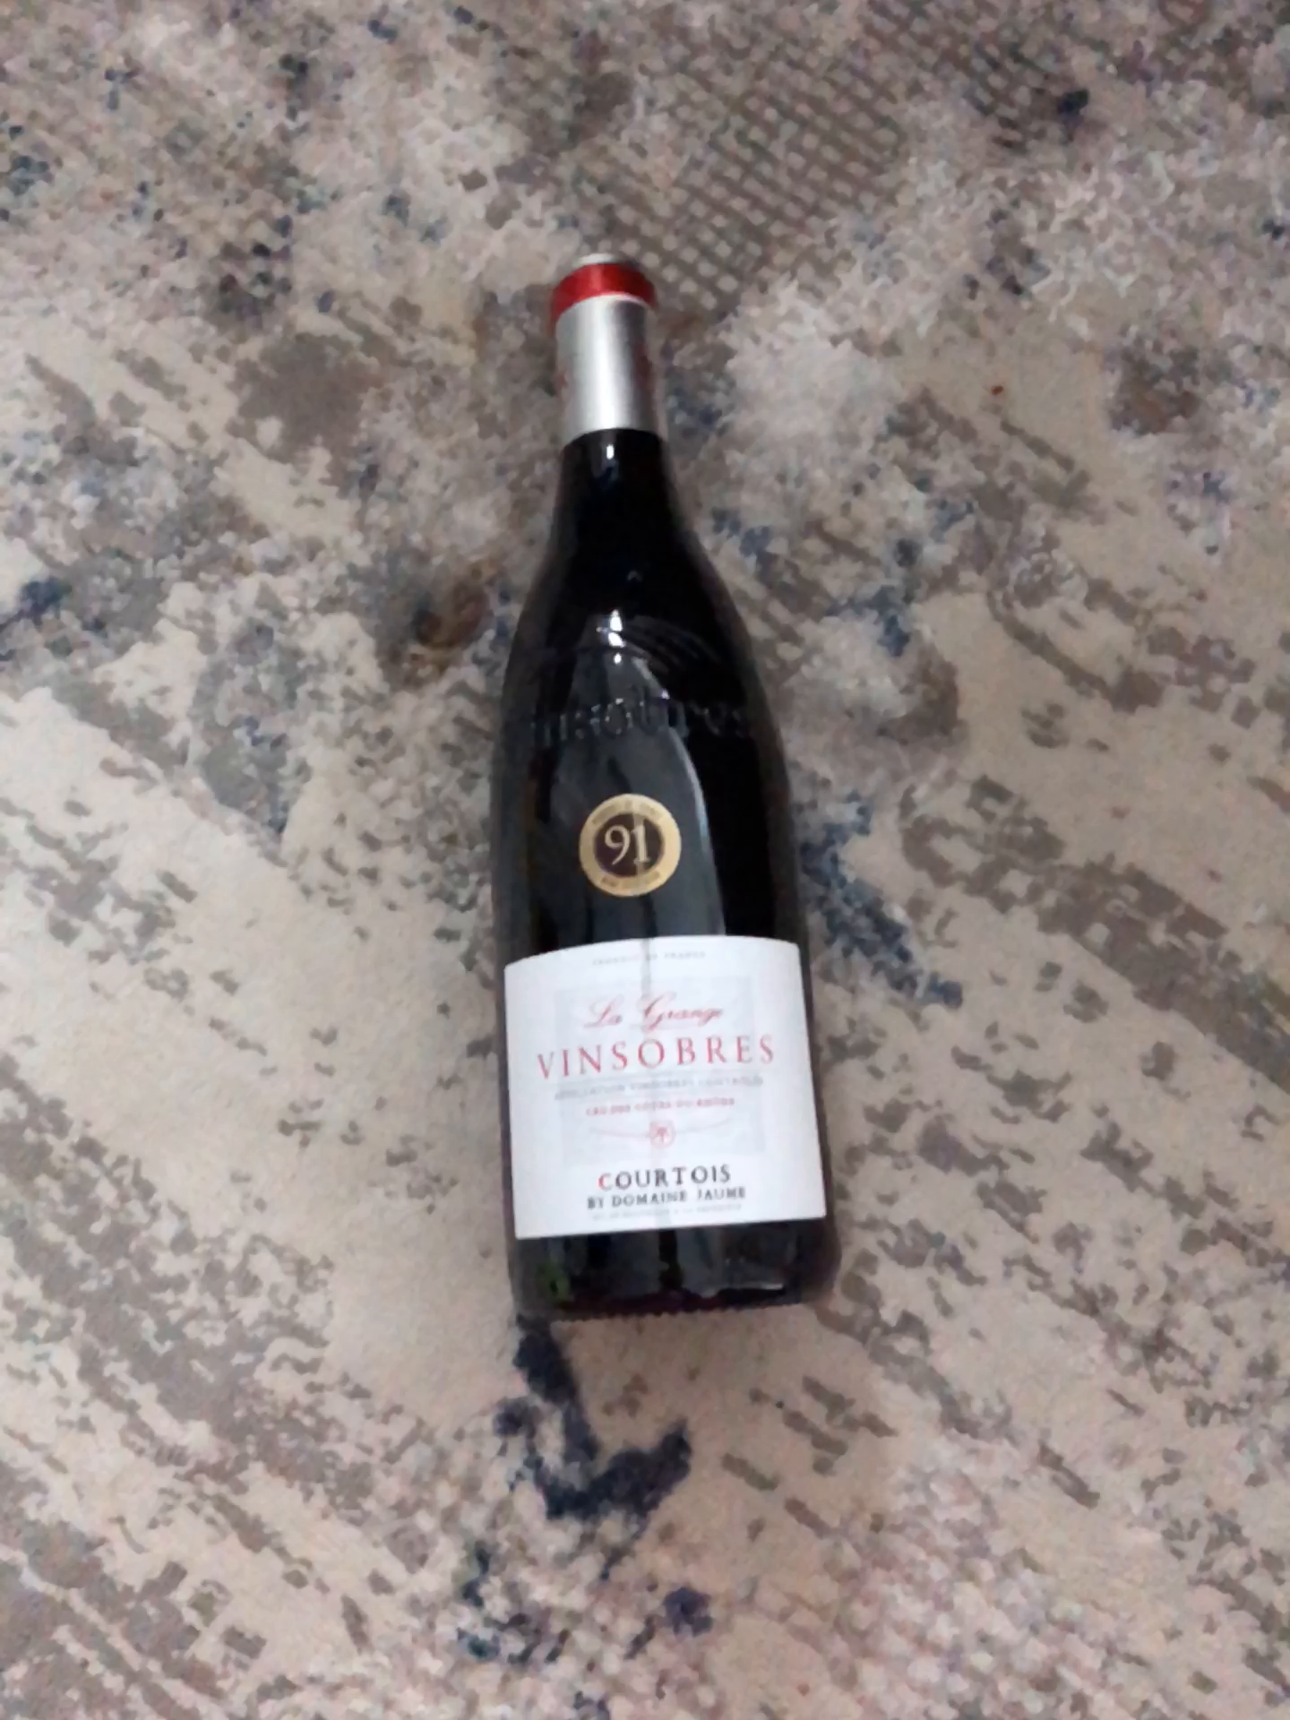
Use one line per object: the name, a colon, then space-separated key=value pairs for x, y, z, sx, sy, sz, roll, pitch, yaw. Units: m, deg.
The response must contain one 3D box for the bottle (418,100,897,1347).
bottle: x=-0.003 y=-0.036 z=0.383 sx=0.090 sy=0.100 sz=0.300 roll=-4 pitch=76 yaw=-1
